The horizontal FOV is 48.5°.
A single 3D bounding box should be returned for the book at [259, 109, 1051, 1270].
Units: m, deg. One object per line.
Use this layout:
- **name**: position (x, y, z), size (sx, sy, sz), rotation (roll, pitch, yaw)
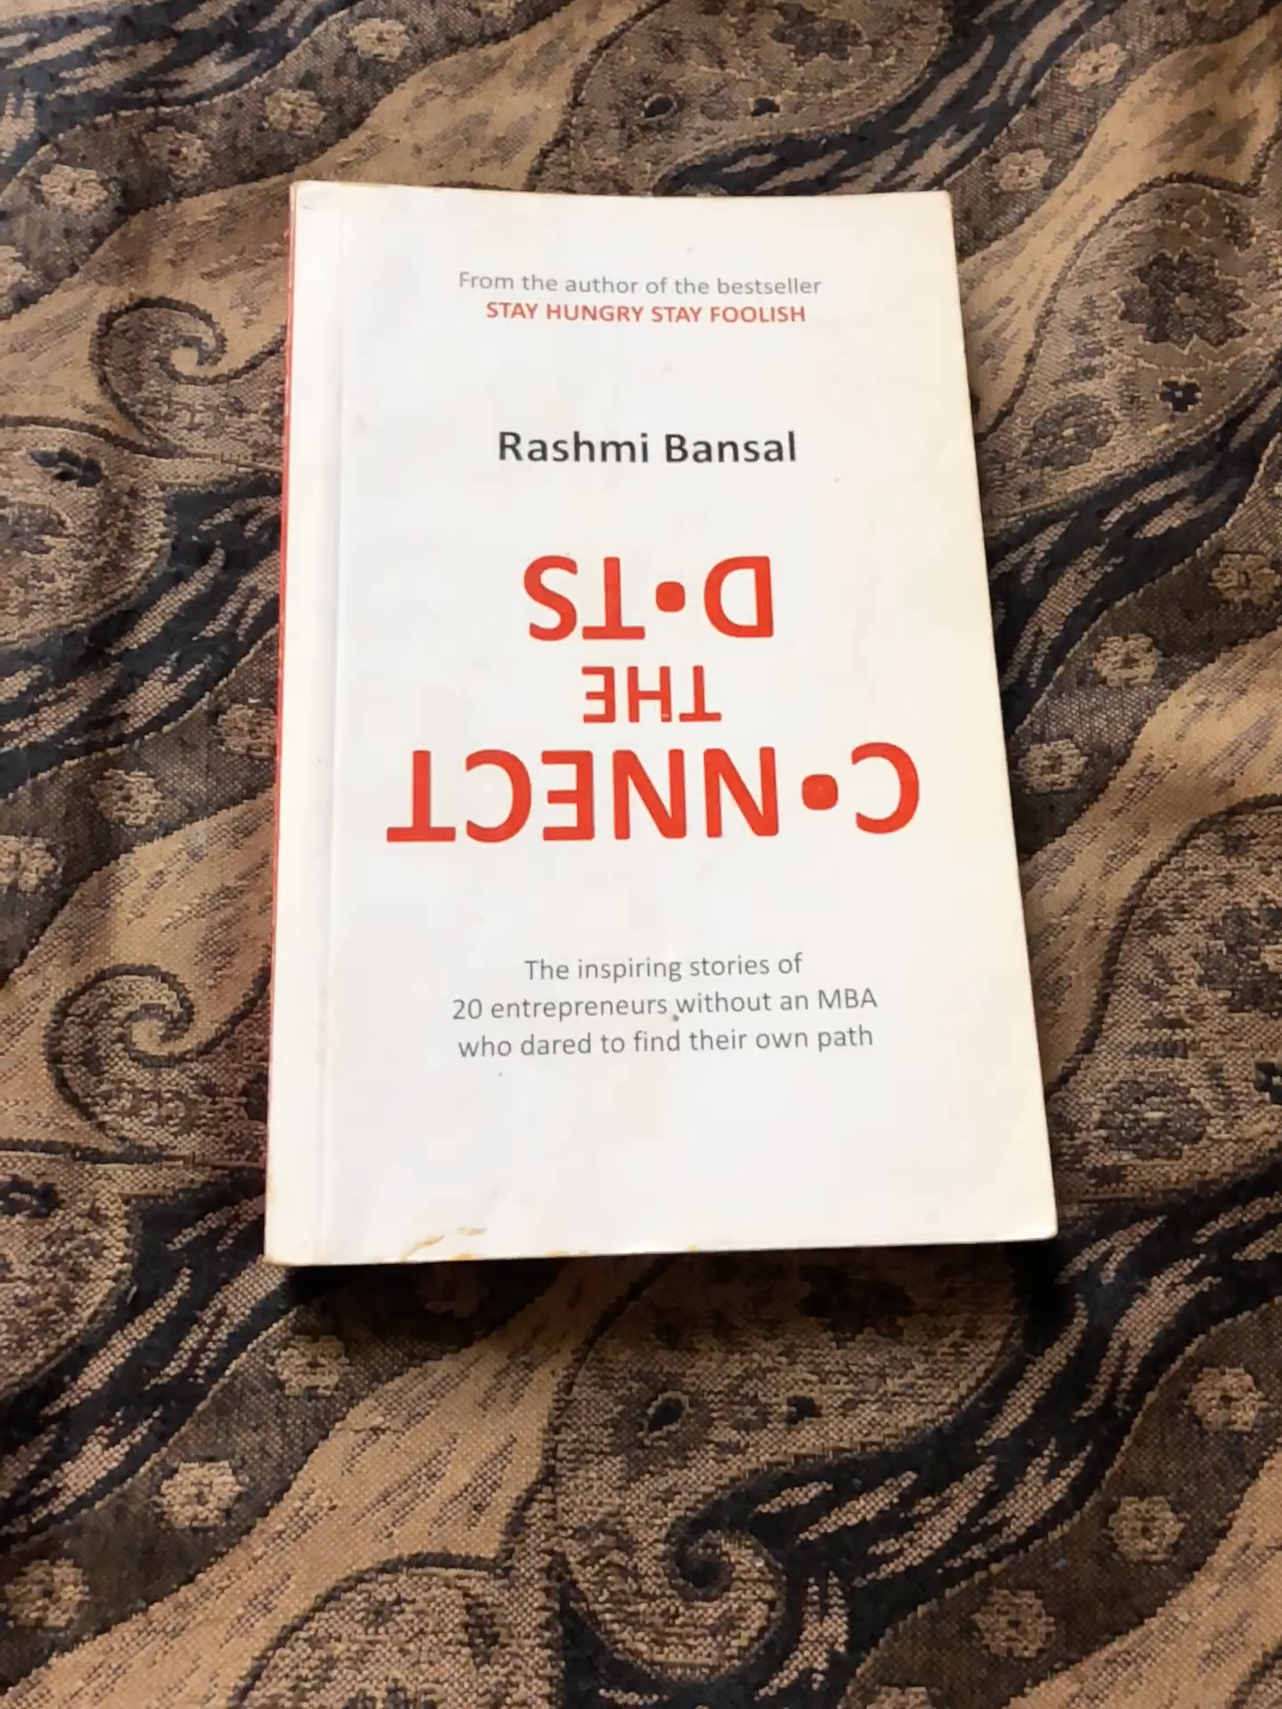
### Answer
- **book**: position (-0.001, -0.036, 0.279), size (0.130, 0.040, 0.220), rotation (-2, 76, -1)
